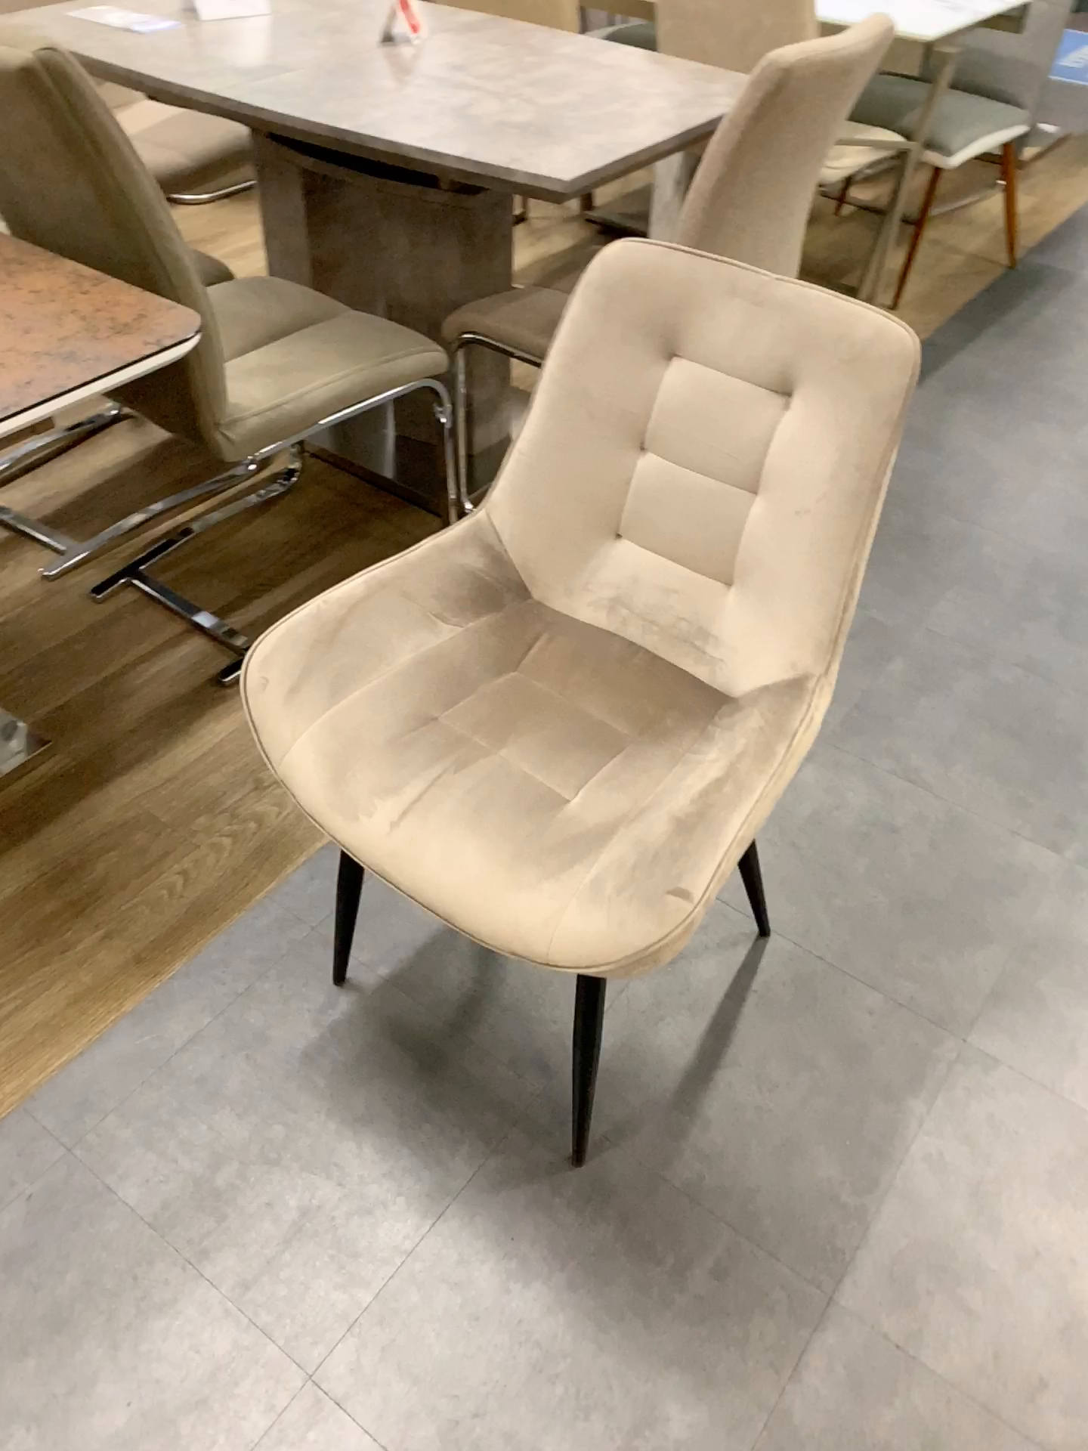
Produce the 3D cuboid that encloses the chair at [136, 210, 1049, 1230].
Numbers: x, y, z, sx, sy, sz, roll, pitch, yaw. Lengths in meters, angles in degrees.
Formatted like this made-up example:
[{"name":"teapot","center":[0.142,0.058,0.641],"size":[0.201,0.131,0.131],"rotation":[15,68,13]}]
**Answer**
[{"name":"chair","center":[0.053,-0.020,1.274],"size":[0.567,0.818,0.612],"rotation":[30,49,27]}]
